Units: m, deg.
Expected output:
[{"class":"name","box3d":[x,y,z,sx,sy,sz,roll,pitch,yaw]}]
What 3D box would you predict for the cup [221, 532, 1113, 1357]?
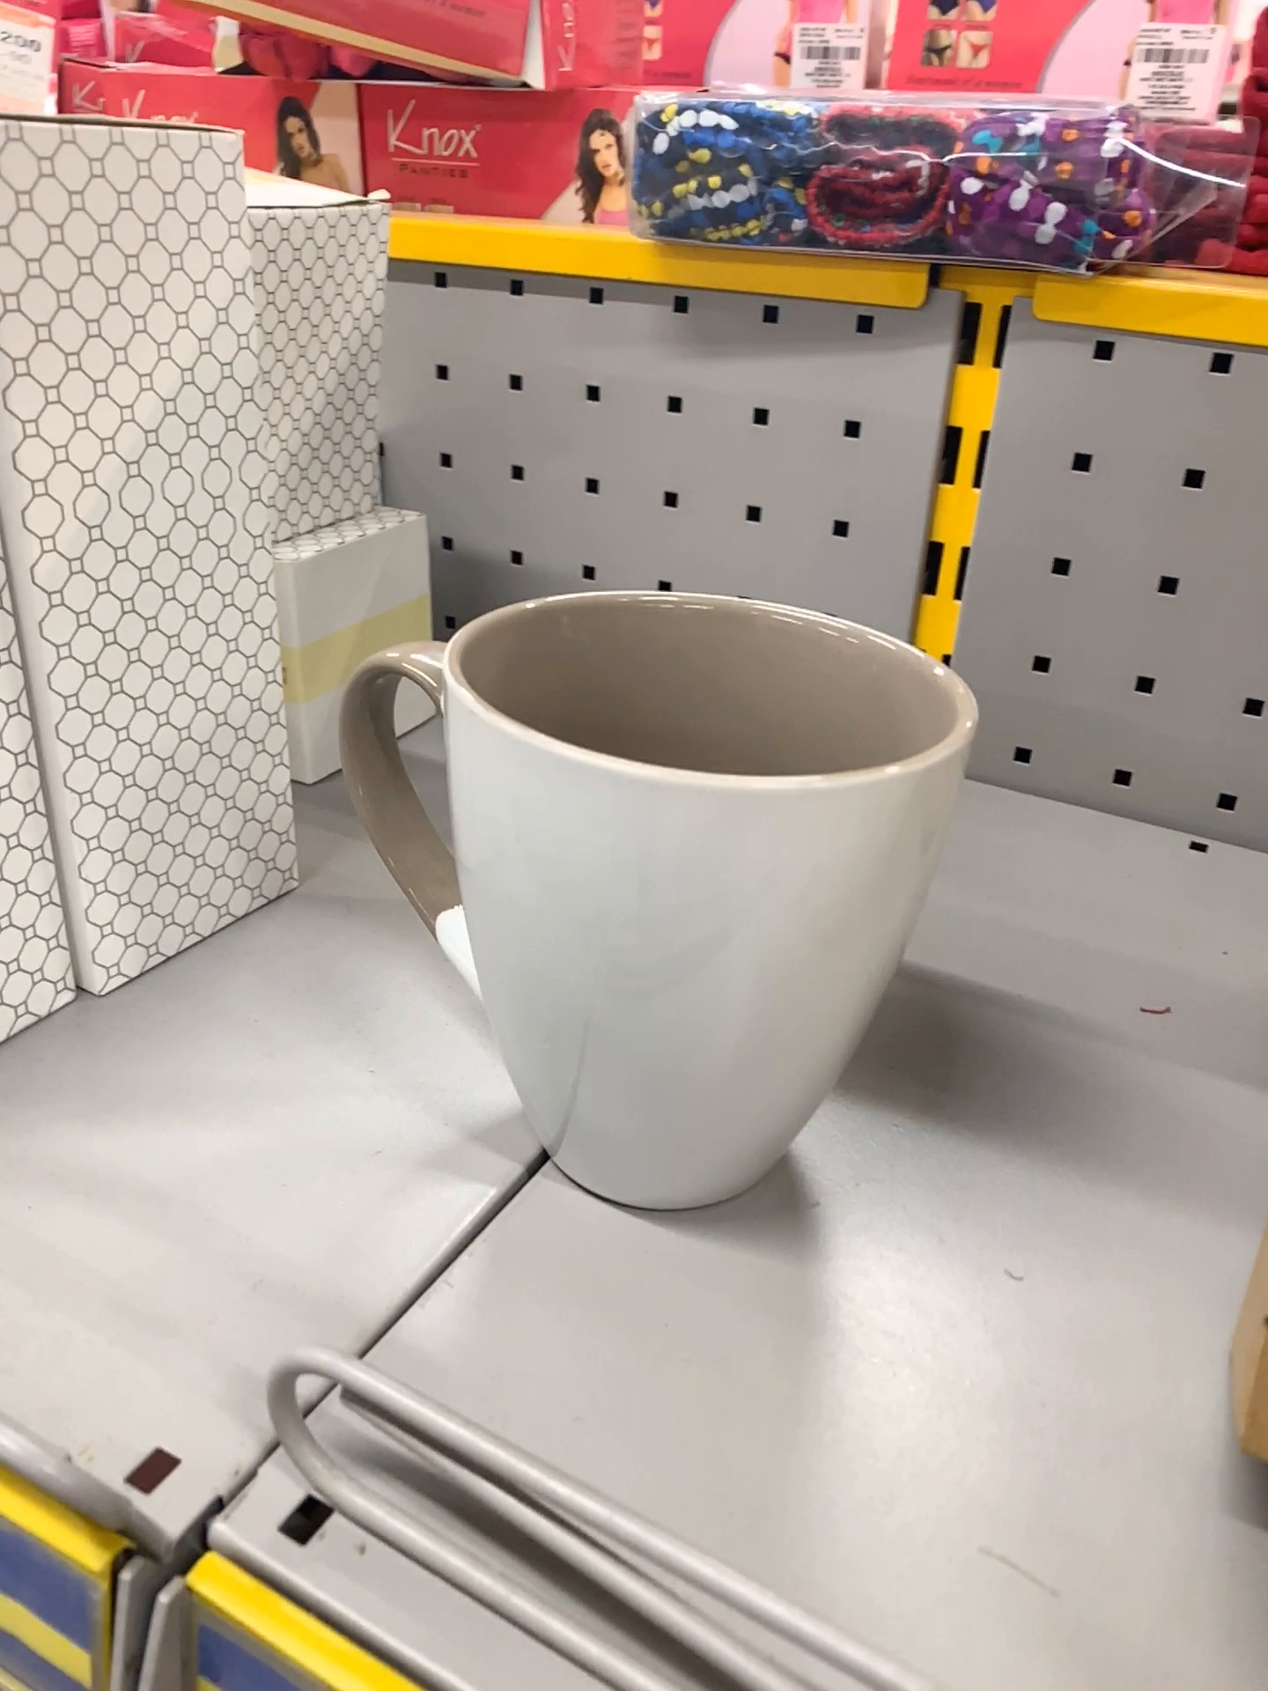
[{"class":"cup","box3d":[0.006,0.006,0.273,0.140,0.100,0.100,19,31,27]}]
